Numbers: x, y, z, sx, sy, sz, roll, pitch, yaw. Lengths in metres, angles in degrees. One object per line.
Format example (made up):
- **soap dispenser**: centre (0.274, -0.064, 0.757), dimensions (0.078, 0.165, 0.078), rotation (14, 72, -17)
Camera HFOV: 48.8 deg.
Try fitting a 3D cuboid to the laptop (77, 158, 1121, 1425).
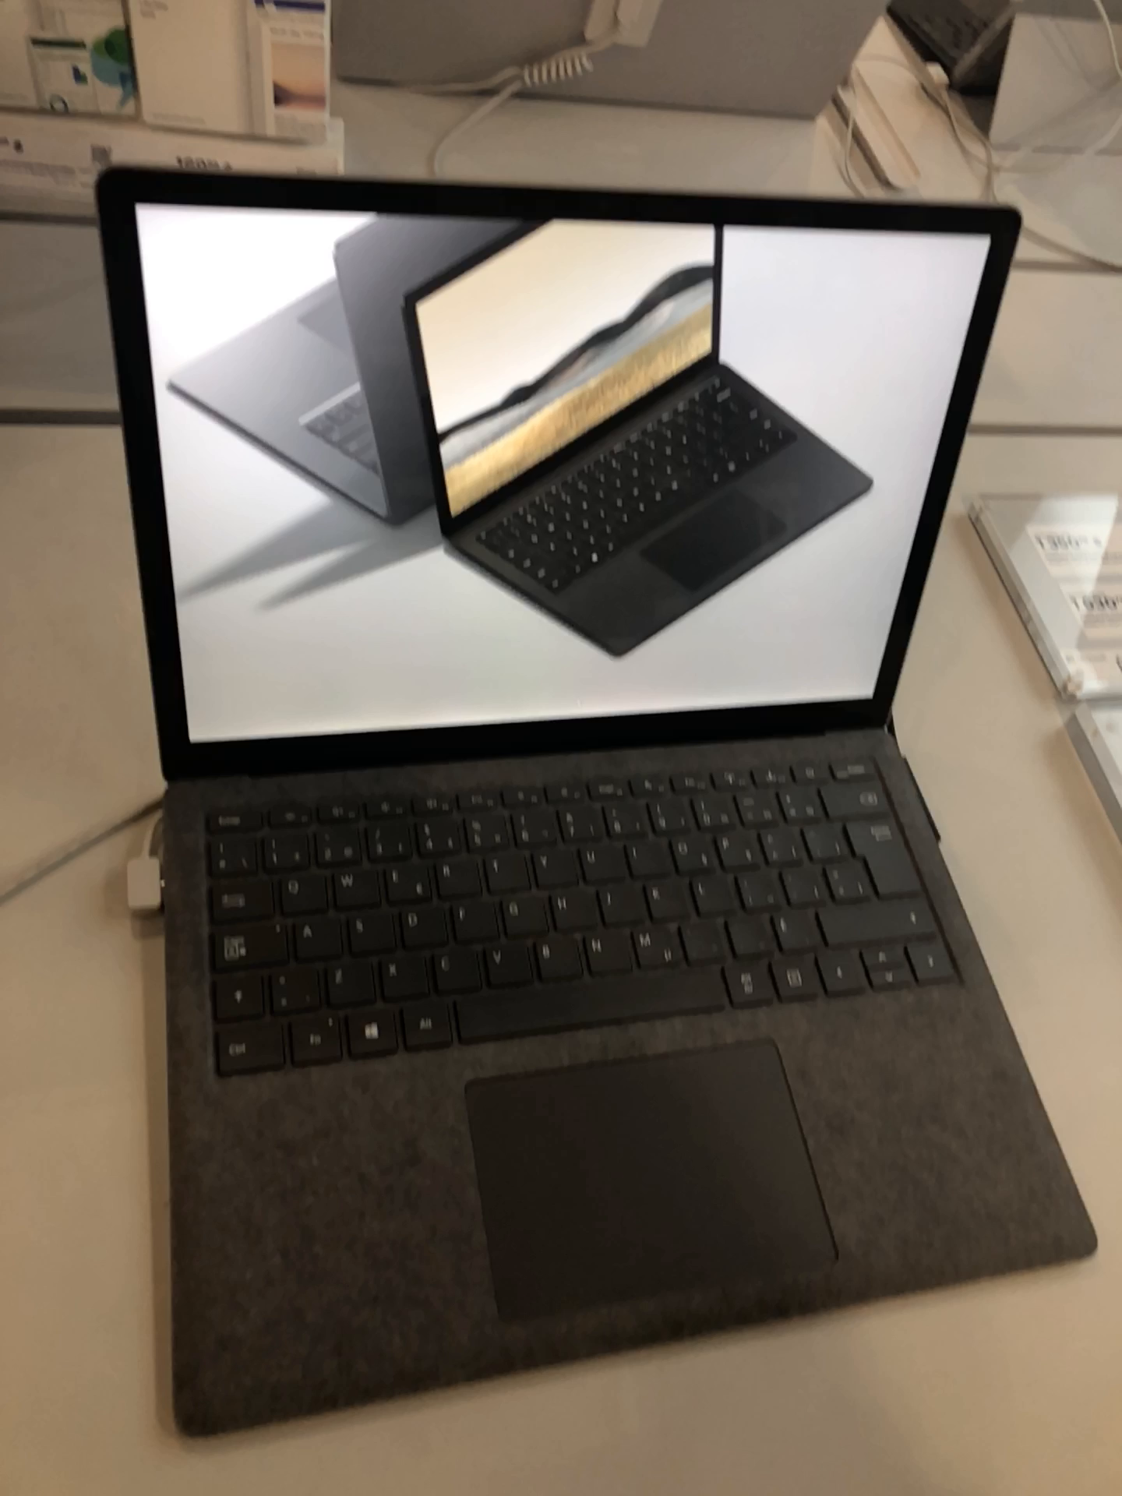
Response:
- **laptop**: centre (0.023, 0.002, 0.387), dimensions (0.297, 0.197, 0.295), rotation (-4, 56, -15)
